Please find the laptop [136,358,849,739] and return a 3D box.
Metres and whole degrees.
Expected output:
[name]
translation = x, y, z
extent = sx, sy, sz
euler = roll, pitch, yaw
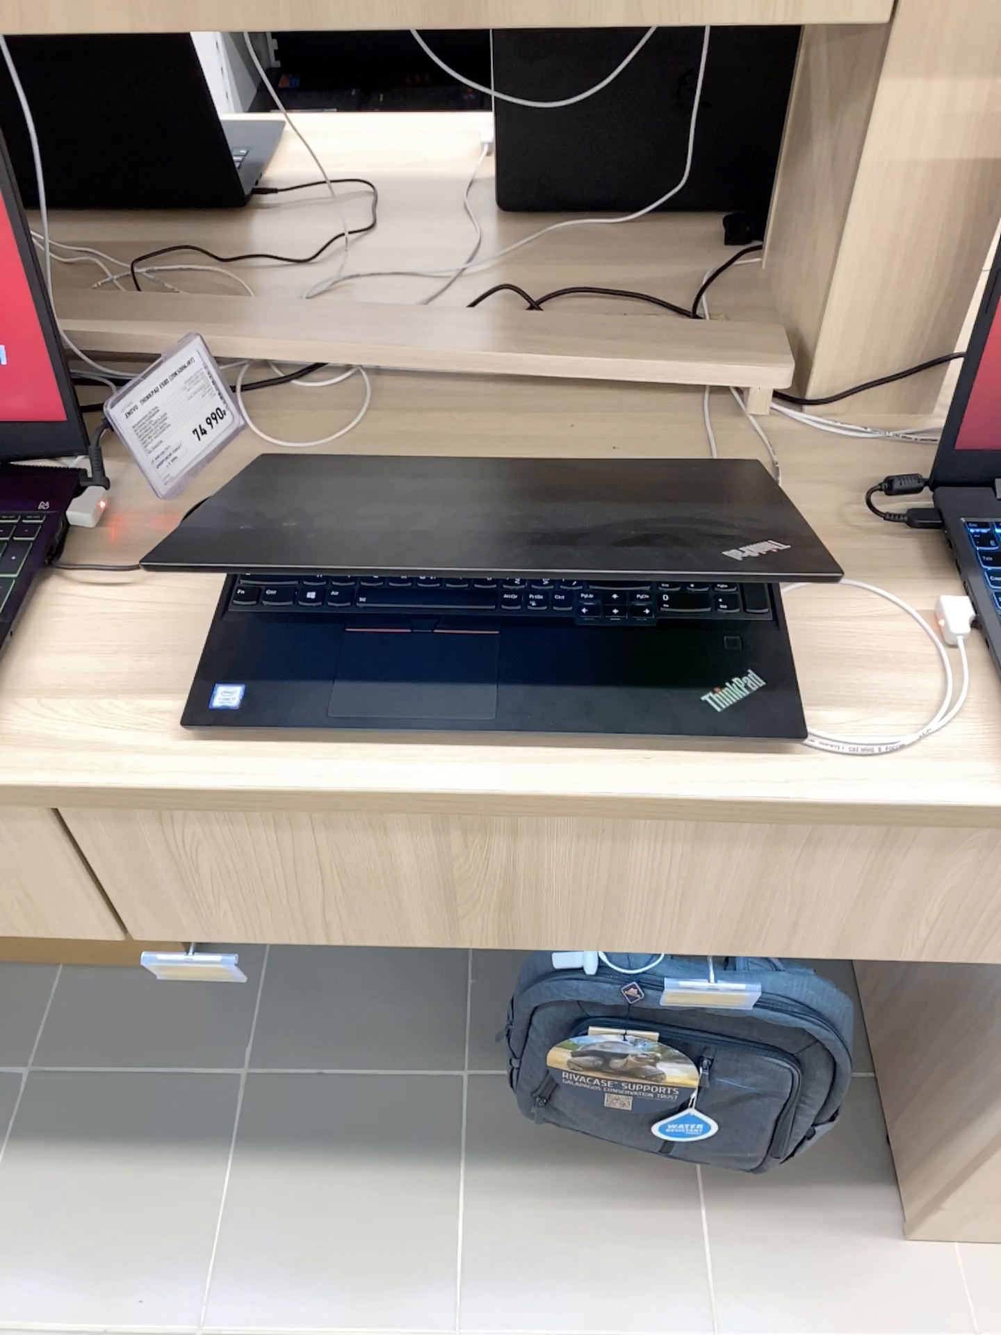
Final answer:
[laptop]
translation = -0.001, -0.085, 0.638
extent = 0.368, 0.093, 0.241
euler = 1, 48, 4
